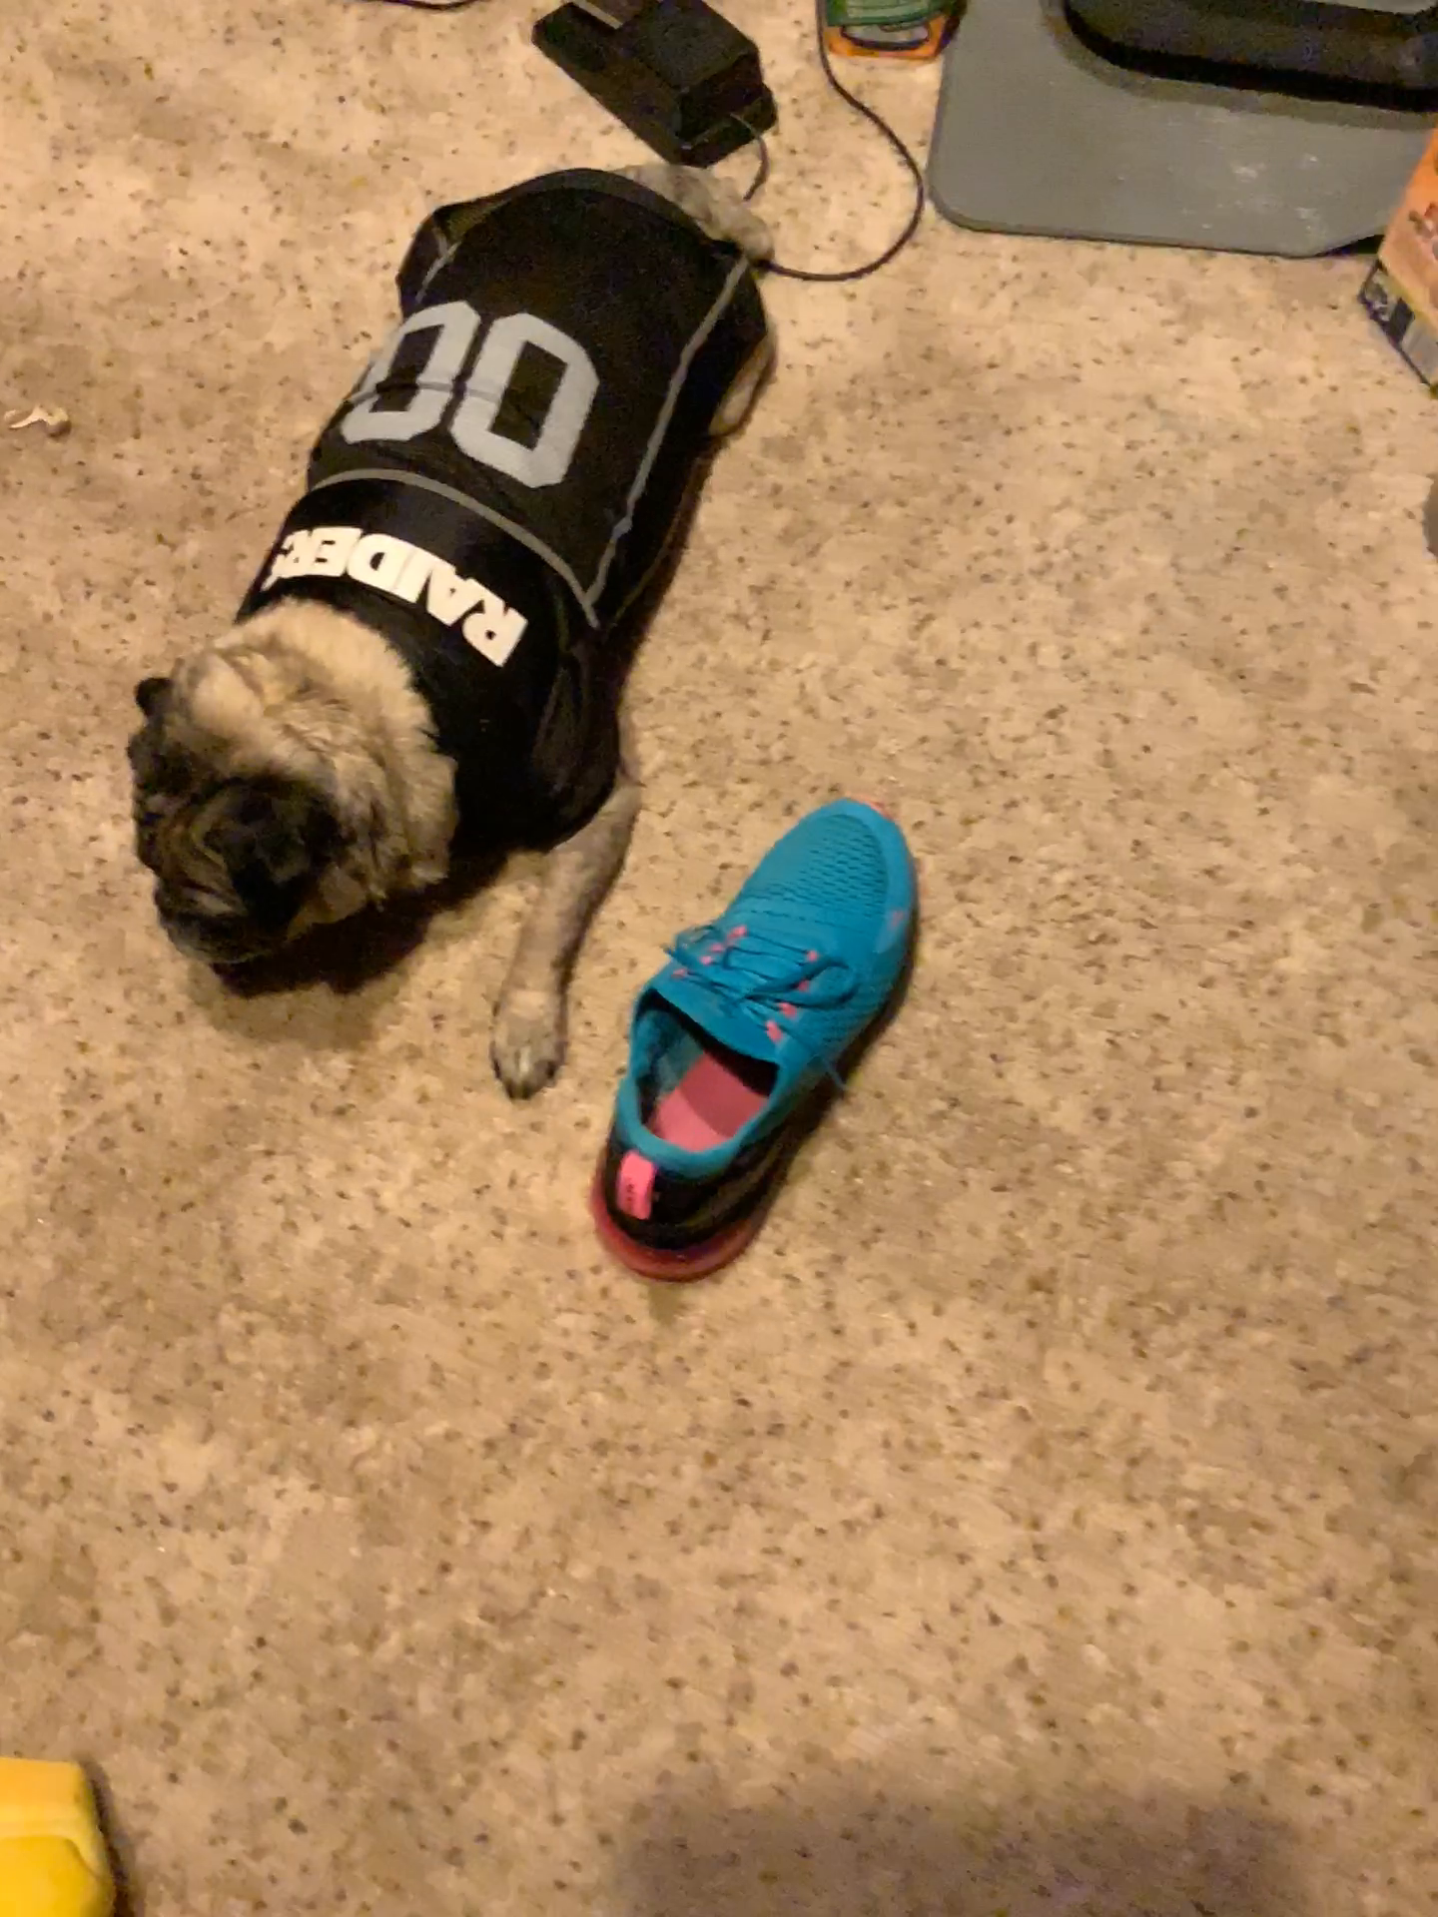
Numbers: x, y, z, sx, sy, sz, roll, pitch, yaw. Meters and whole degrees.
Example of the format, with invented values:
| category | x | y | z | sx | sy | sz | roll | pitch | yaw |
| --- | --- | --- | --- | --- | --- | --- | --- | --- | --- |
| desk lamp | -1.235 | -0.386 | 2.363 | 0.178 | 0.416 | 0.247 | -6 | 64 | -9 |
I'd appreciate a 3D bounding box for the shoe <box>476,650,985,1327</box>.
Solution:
| category | x | y | z | sx | sy | sz | roll | pitch | yaw |
| --- | --- | --- | --- | --- | --- | --- | --- | --- | --- |
| shoe | 0.016 | 0.017 | 0.915 | 0.130 | 0.140 | 0.340 | 25 | 72 | 13 |
